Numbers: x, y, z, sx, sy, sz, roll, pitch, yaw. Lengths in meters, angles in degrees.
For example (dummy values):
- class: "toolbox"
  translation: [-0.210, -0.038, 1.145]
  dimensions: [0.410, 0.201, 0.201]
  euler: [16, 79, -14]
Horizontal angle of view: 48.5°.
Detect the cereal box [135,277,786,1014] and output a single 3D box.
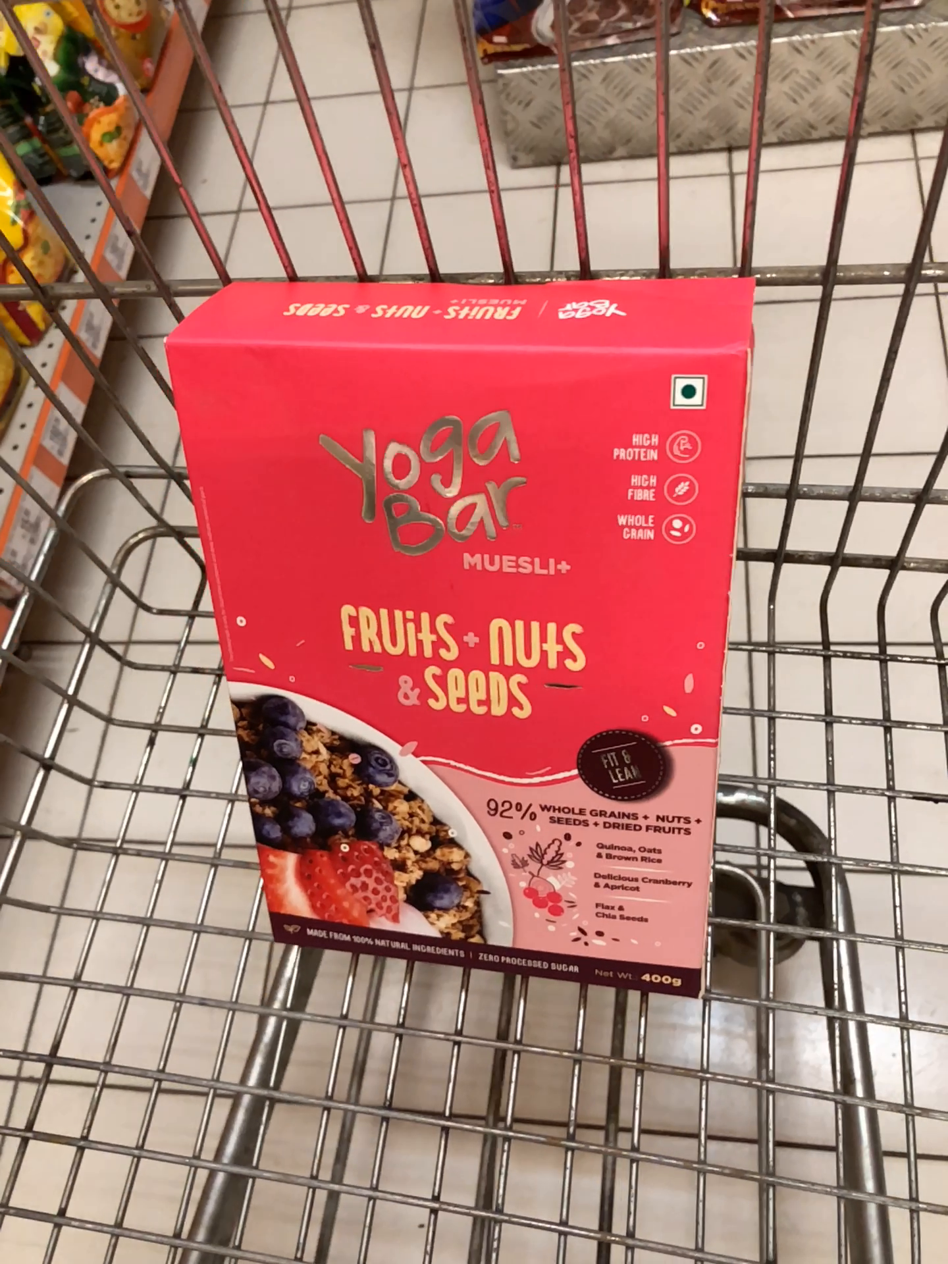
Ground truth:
- class: "cereal box"
  translation: [0.004, 0.011, 0.353]
  dimensions: [0.170, 0.239, 0.060]
  euler: [4, 32, 13]
